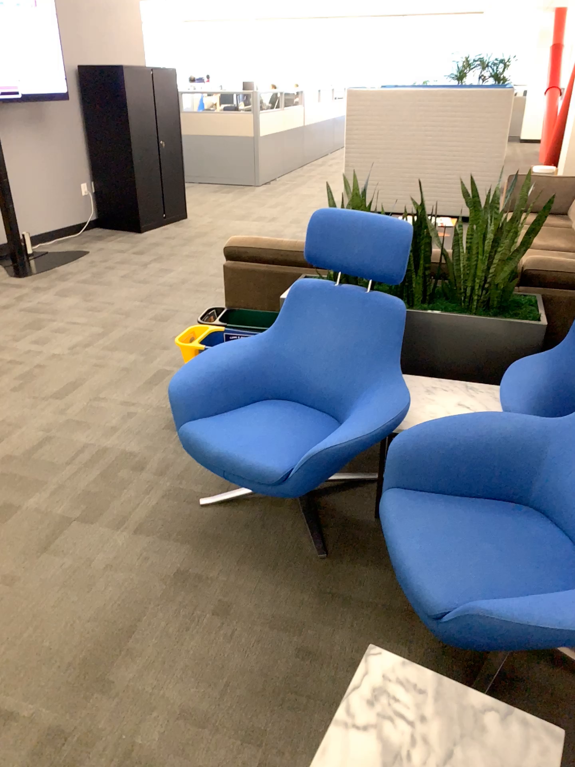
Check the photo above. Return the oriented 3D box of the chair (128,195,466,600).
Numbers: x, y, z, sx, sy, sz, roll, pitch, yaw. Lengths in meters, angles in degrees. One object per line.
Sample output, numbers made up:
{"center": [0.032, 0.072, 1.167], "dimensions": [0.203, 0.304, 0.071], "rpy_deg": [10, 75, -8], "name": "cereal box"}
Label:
{"center": [0.023, -0.027, 2.213], "dimensions": [0.923, 1.143, 0.661], "rpy_deg": [20, 33, 34], "name": "chair"}
